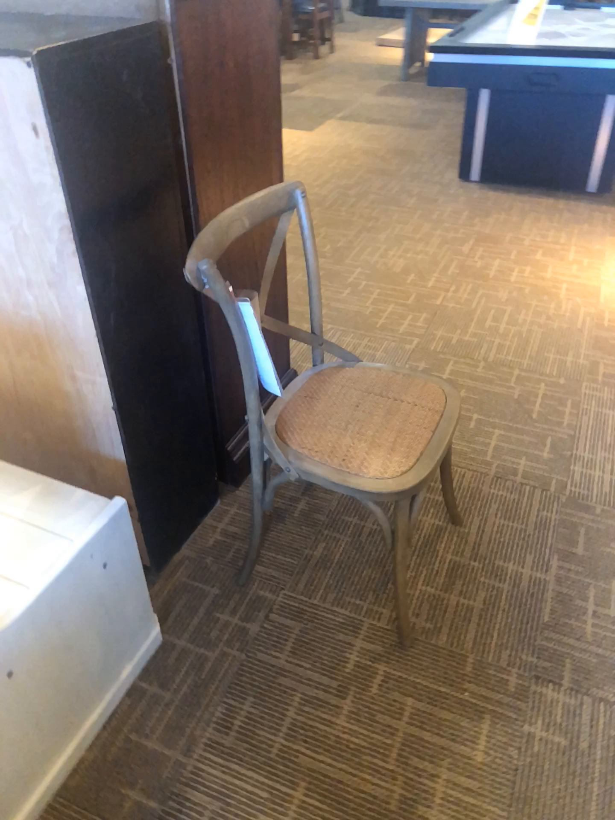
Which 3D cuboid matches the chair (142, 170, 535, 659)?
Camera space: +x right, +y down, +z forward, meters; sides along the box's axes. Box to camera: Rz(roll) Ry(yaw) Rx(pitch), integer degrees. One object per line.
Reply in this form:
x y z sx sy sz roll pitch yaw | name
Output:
0.086 -0.005 1.488 0.565 0.813 0.517 16 40 21 | chair
